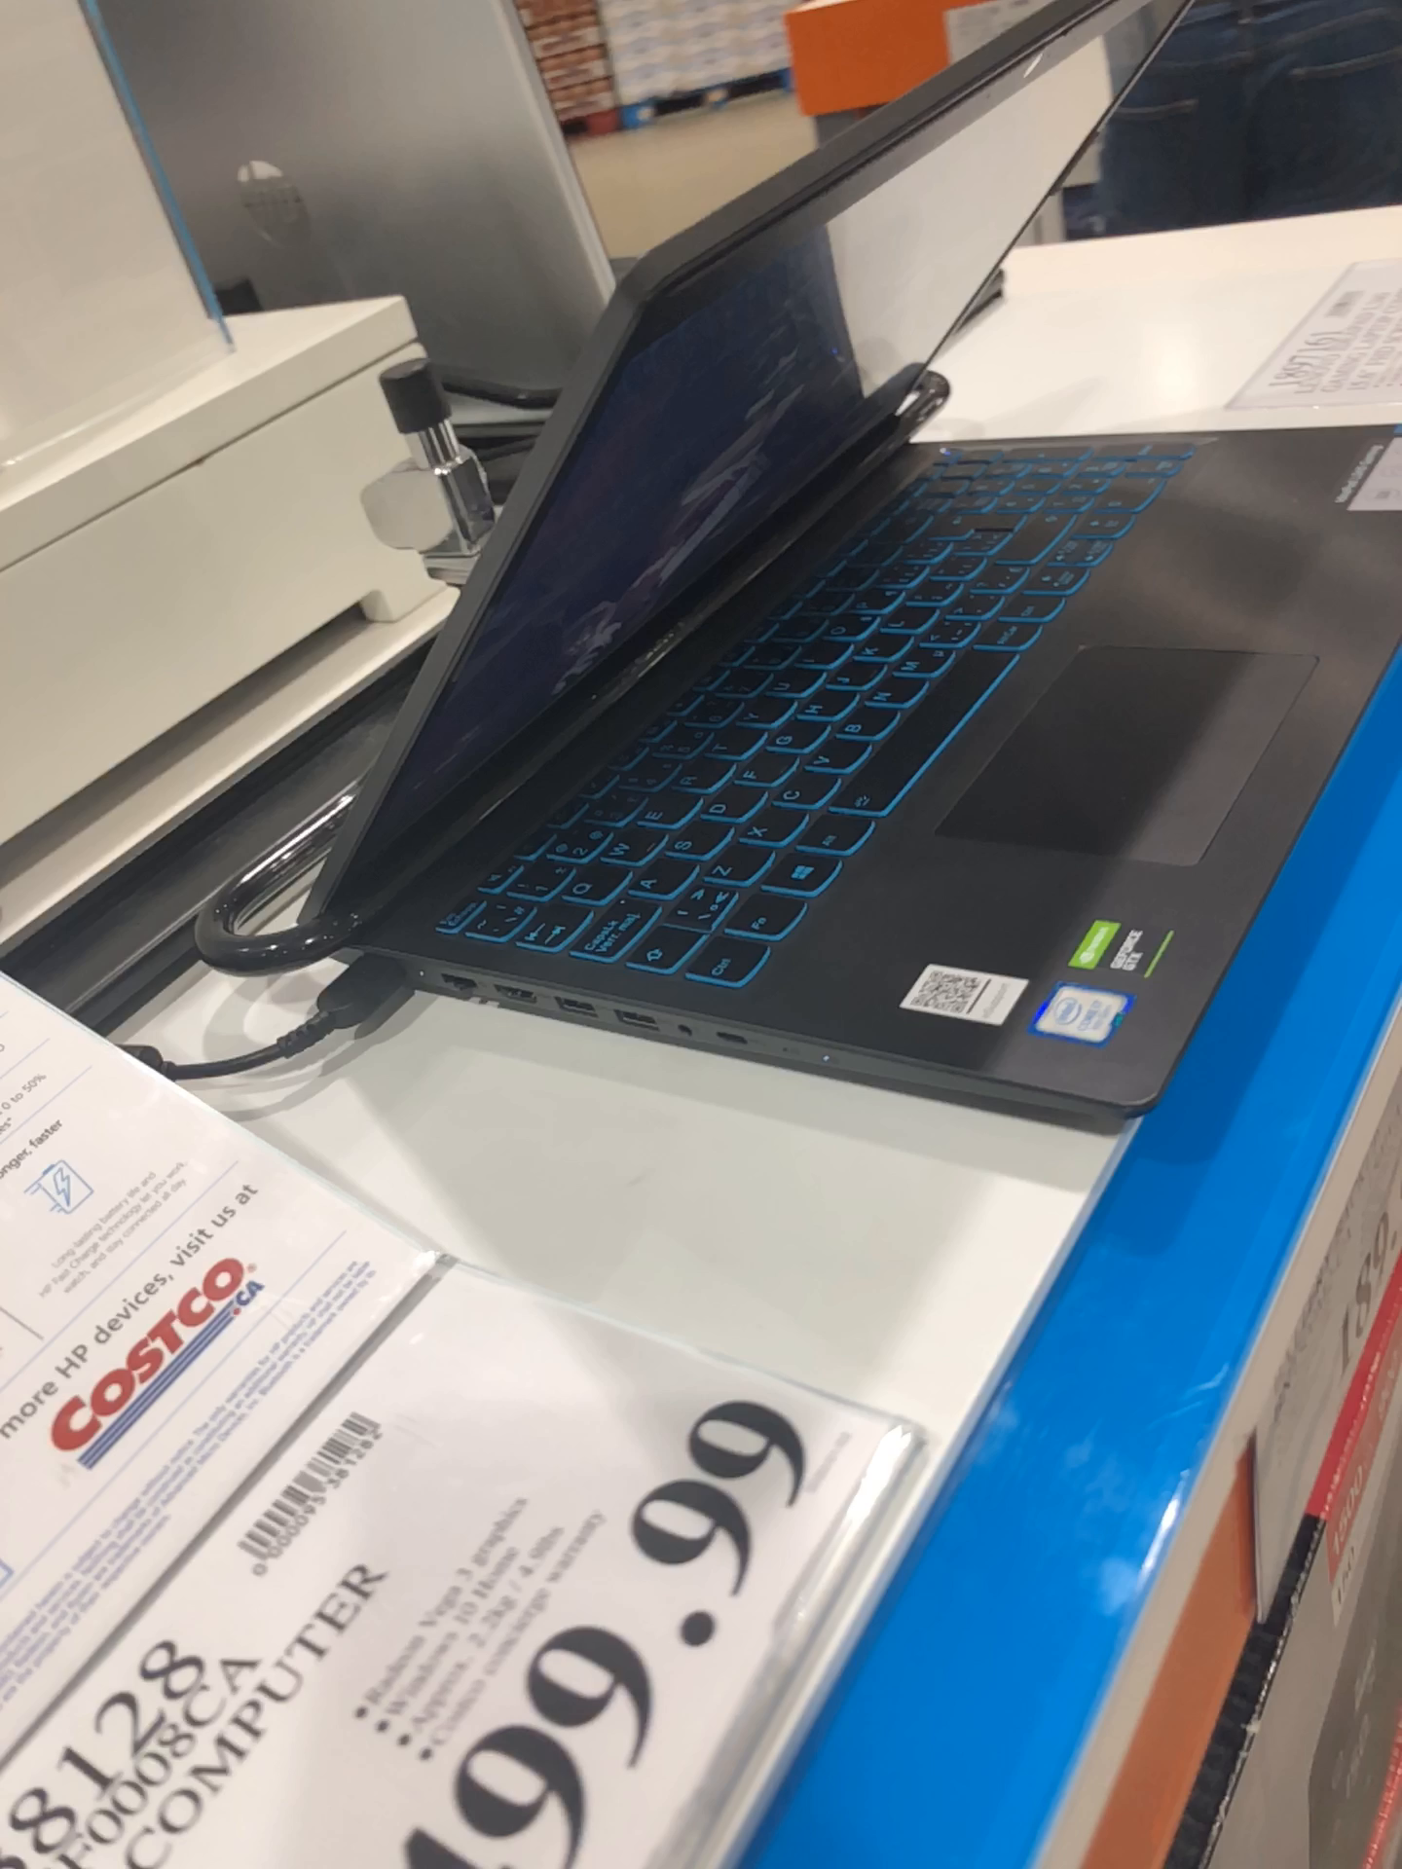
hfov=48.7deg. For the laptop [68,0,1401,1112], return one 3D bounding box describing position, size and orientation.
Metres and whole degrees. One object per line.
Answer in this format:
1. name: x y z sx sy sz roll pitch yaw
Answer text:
1. laptop: 0.063 -0.153 0.436 0.241 0.170 0.345 10 42 34
